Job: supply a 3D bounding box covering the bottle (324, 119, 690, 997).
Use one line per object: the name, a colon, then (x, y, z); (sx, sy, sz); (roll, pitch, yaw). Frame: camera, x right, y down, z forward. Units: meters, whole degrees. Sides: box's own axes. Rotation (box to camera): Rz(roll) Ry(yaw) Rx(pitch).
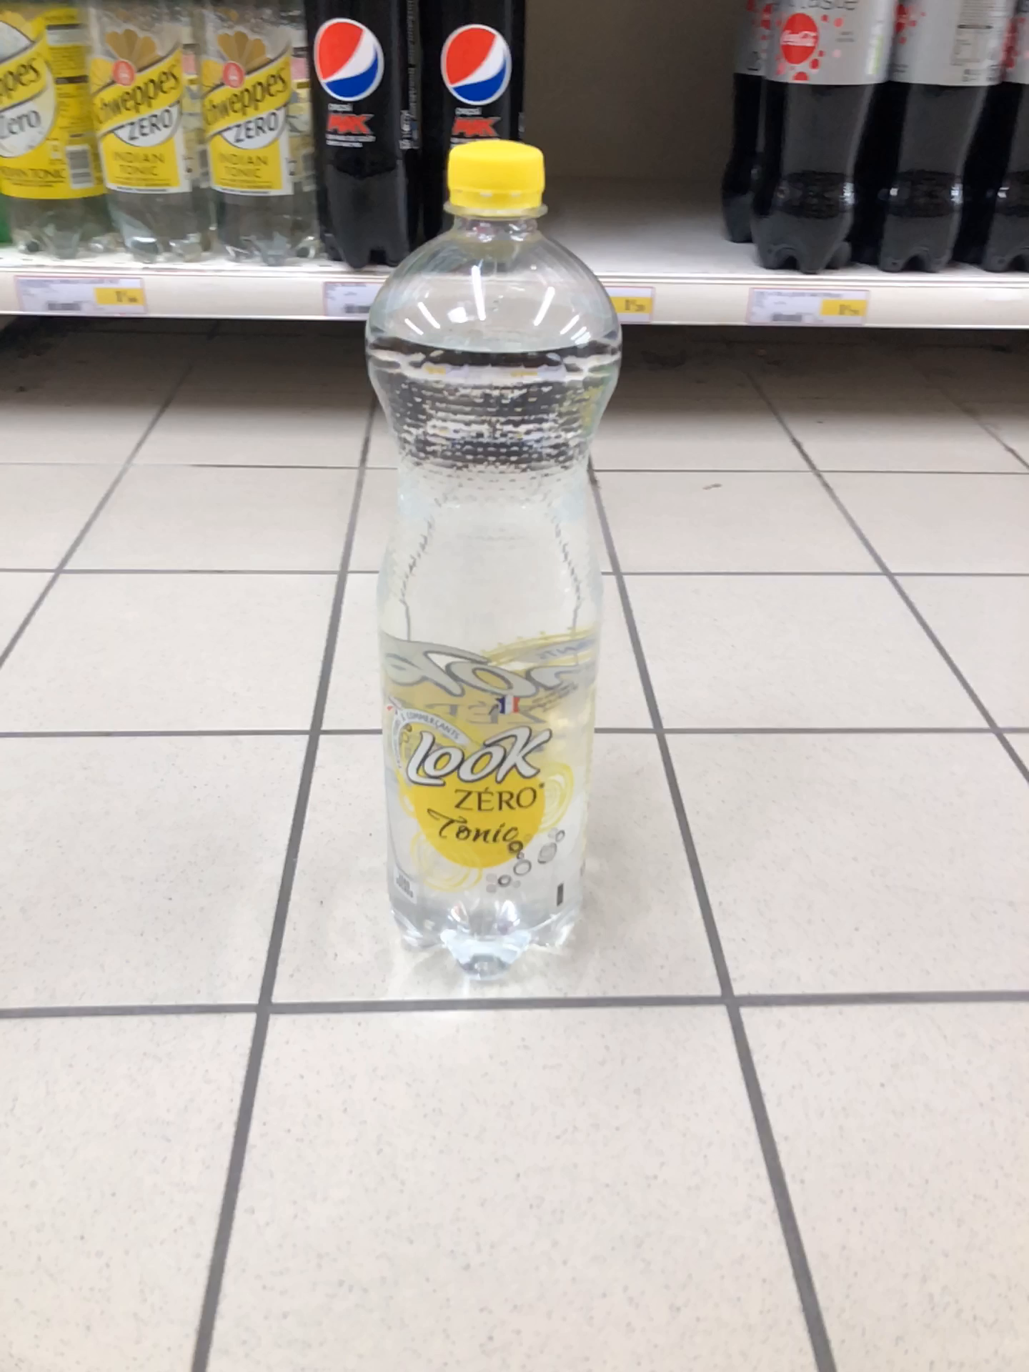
bottle: (-0.004, -0.034, 0.433); (0.100, 0.318, 0.101); (1, 32, -1)
